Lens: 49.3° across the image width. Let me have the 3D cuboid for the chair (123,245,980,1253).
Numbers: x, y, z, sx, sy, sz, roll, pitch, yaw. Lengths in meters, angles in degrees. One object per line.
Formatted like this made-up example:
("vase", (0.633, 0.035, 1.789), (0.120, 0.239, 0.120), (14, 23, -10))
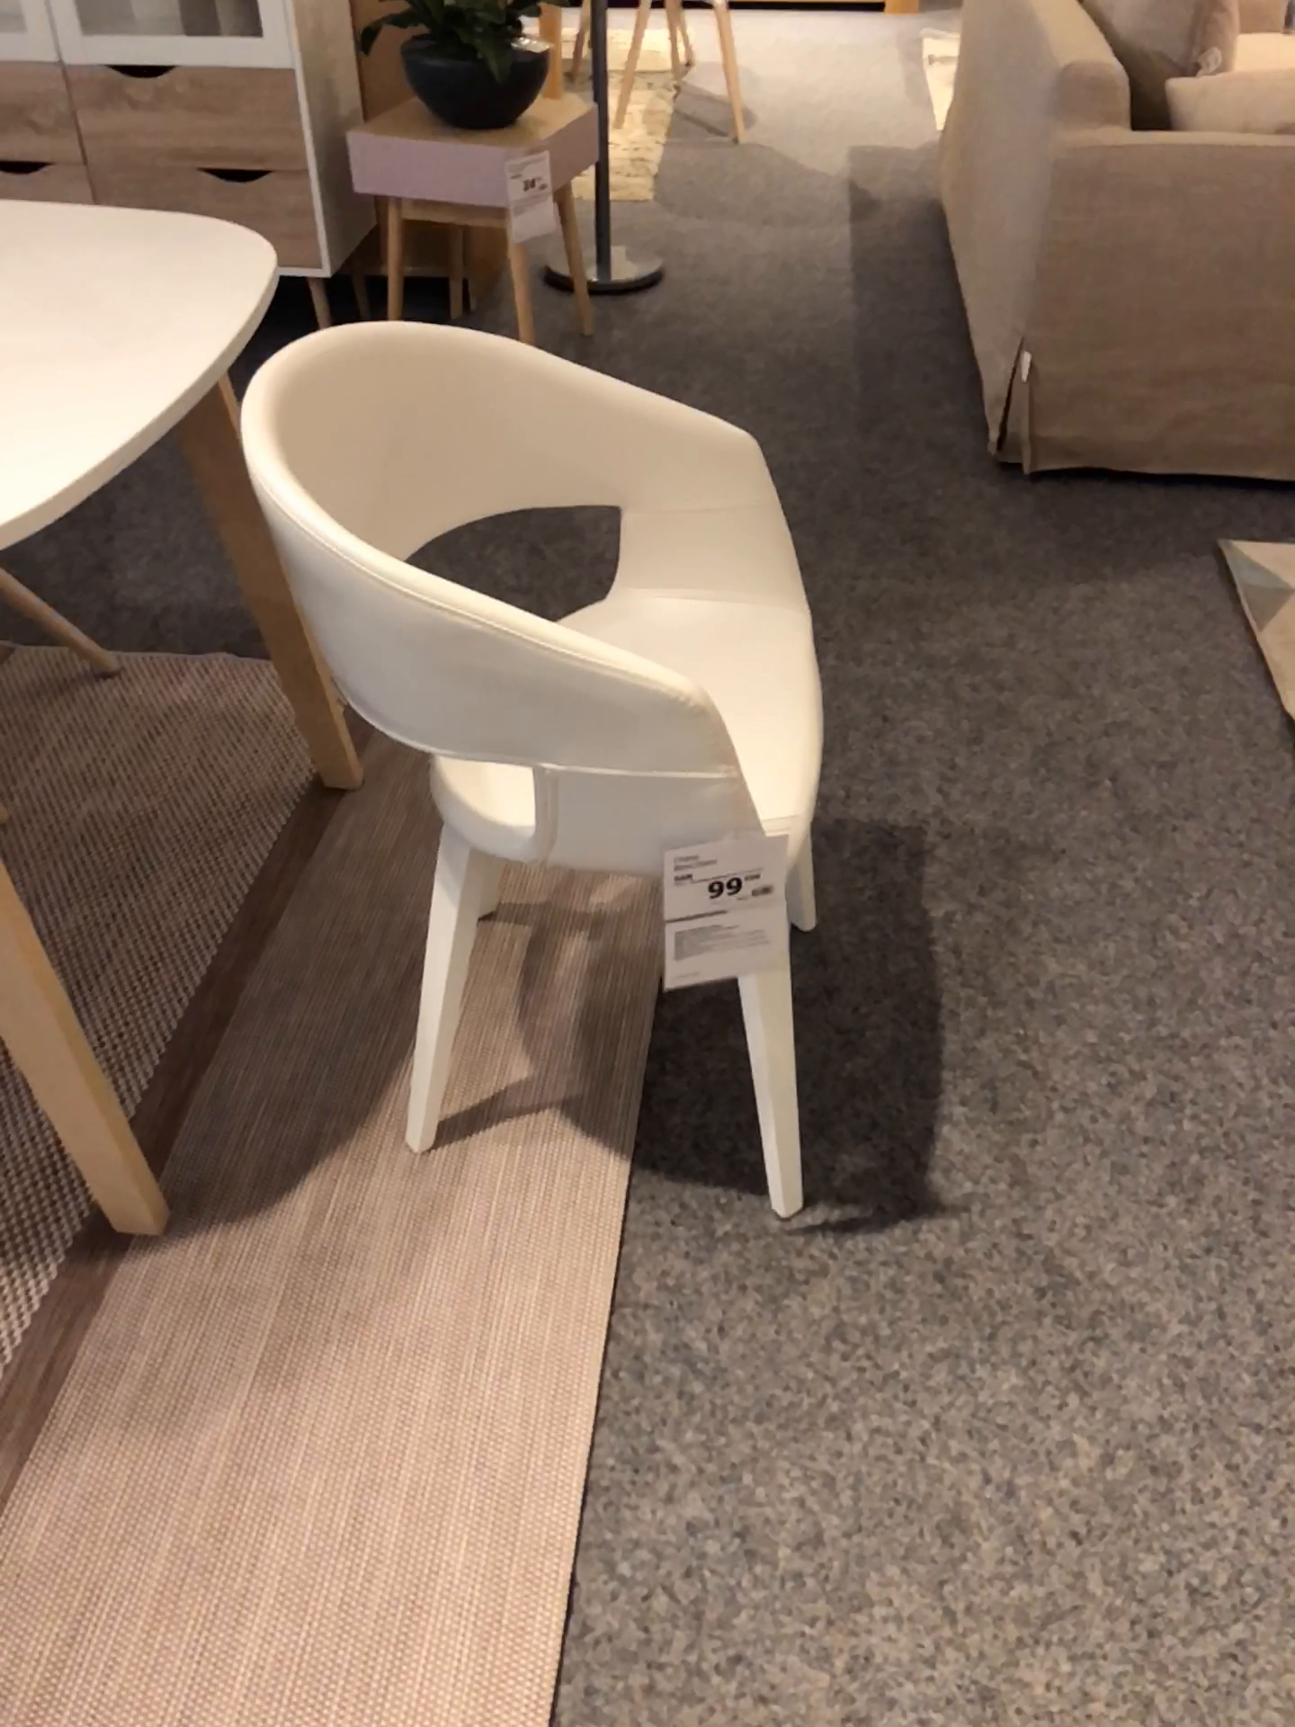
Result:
("chair", (-0.042, -0.107, 1.364), (0.560, 0.756, 0.553), (4, 40, 4))
